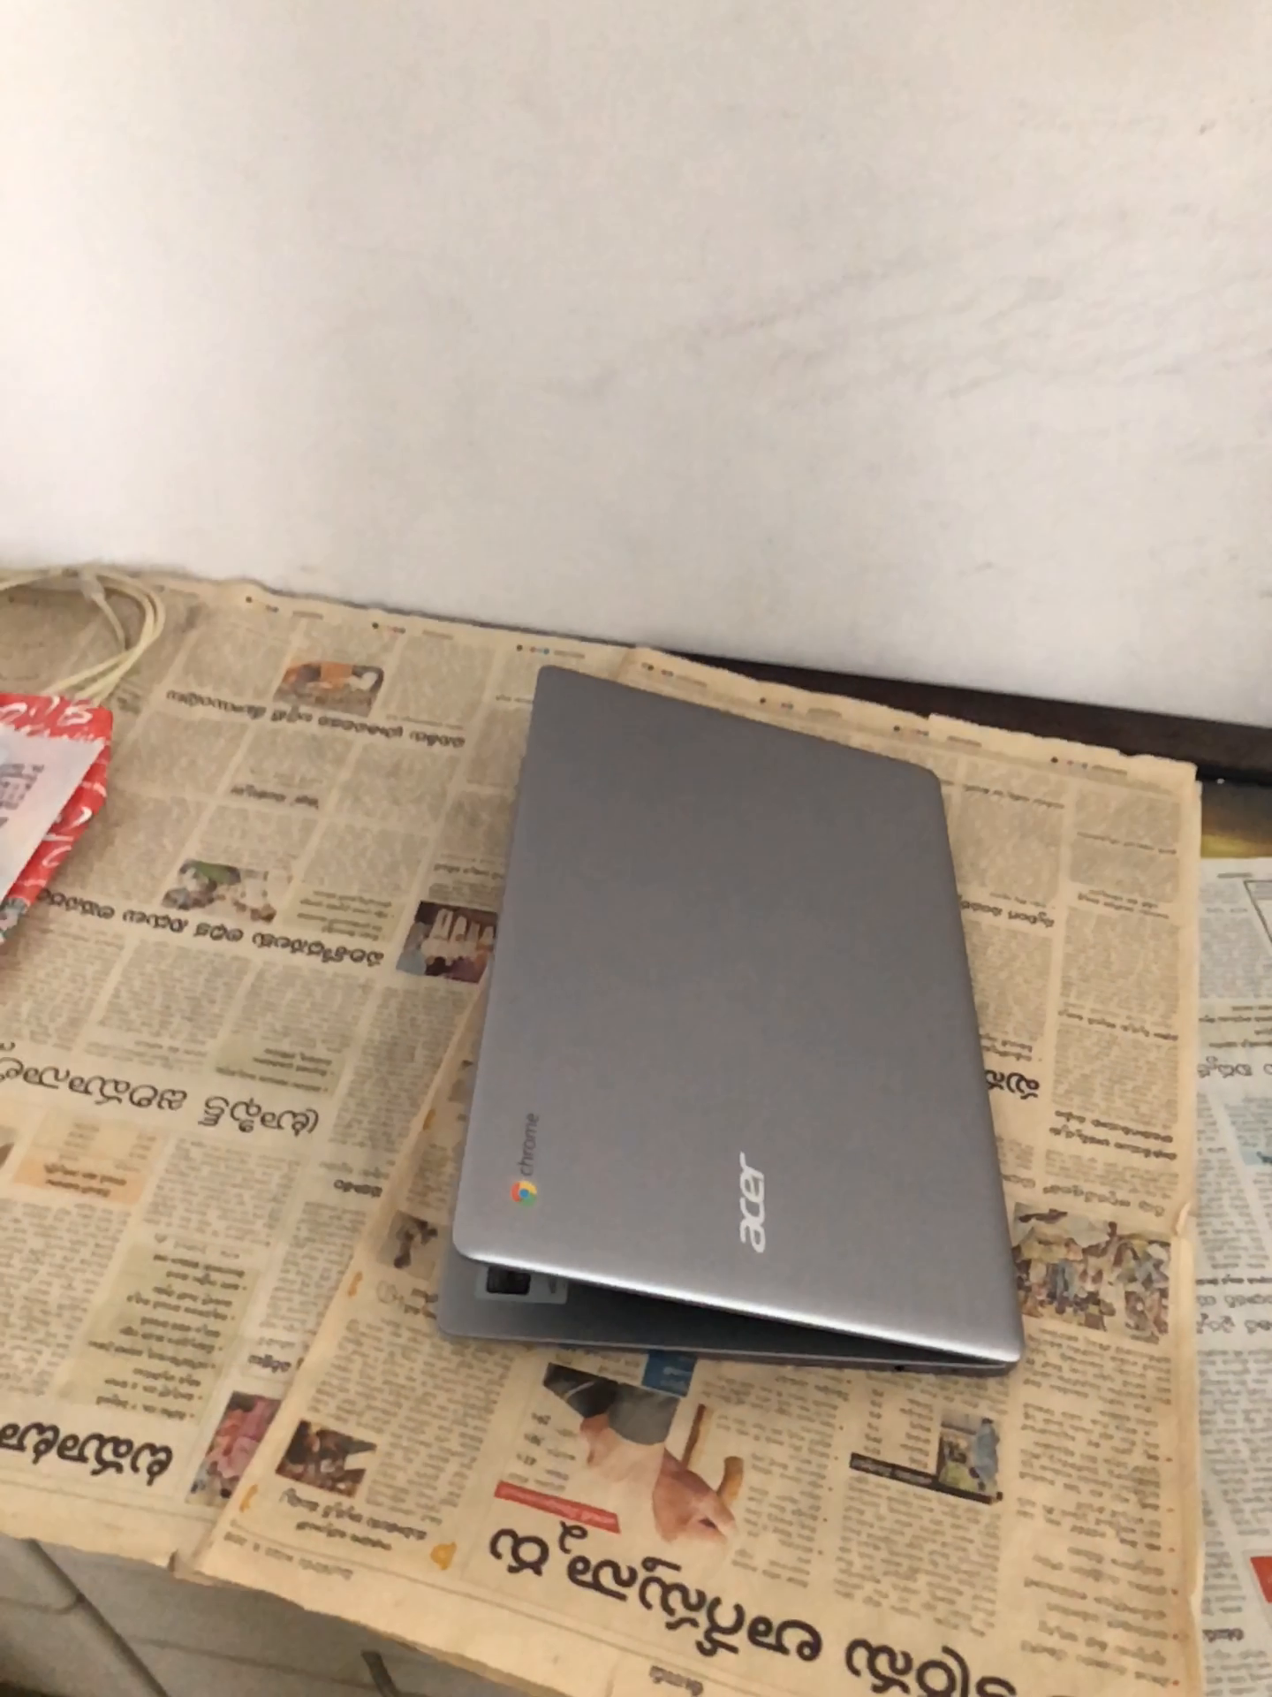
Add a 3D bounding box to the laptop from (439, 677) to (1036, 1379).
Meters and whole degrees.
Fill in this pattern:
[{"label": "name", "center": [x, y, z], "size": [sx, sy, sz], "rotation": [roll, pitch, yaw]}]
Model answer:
[{"label": "laptop", "center": [0.043, 0.056, 0.630], "size": [0.210, 0.058, 0.332], "rotation": [4, 45, 1]}]
